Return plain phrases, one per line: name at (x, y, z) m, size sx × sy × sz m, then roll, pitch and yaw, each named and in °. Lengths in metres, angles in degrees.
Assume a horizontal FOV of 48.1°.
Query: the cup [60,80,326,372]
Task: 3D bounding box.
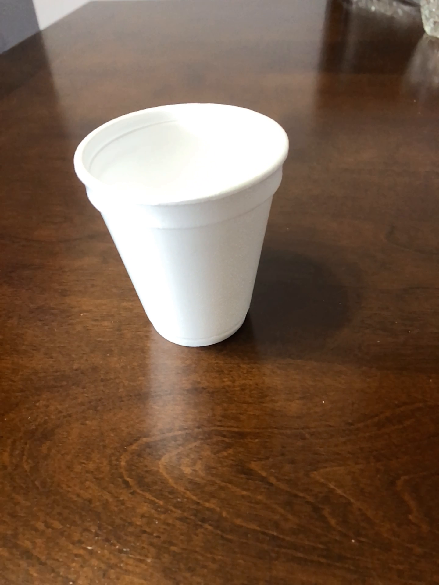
cup at (-0.011, -0.030, 0.203) m, size 0.080 × 0.080 × 0.080 m, roll -2°, pitch 41°, yaw 2°
